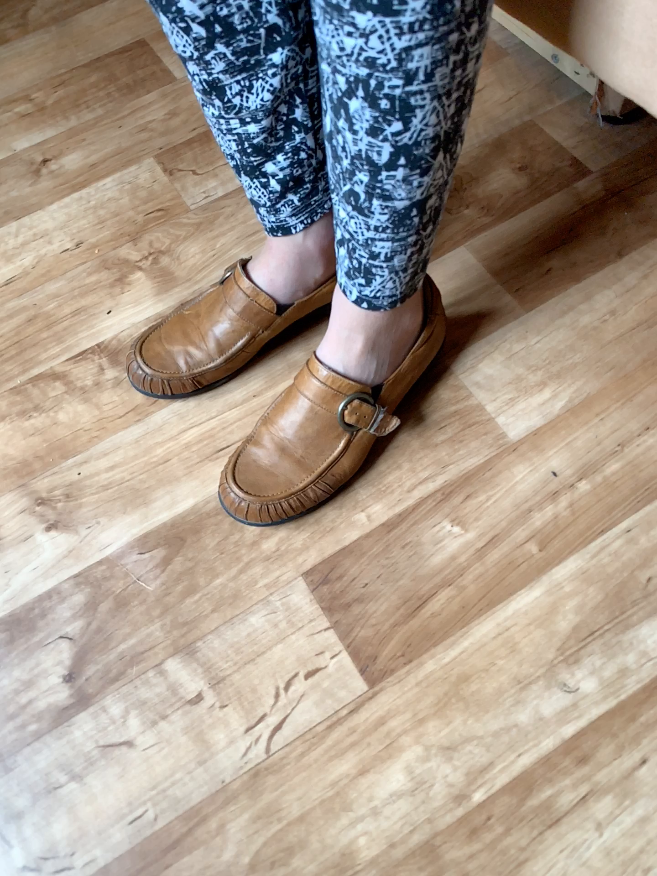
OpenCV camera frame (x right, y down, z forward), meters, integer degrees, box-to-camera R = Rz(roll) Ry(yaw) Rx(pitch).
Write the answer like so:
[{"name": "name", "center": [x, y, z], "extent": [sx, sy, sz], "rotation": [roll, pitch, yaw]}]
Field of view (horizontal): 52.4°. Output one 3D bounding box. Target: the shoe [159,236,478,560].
[{"name": "shoe", "center": [0.000, -0.028, 0.425], "extent": [0.080, 0.070, 0.190], "rotation": [38, 72, 21]}]

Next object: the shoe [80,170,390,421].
[{"name": "shoe", "center": [-0.060, -0.100, 0.470], "extent": [0.190, 0.070, 0.080], "rotation": [-26, 64, -8]}]
